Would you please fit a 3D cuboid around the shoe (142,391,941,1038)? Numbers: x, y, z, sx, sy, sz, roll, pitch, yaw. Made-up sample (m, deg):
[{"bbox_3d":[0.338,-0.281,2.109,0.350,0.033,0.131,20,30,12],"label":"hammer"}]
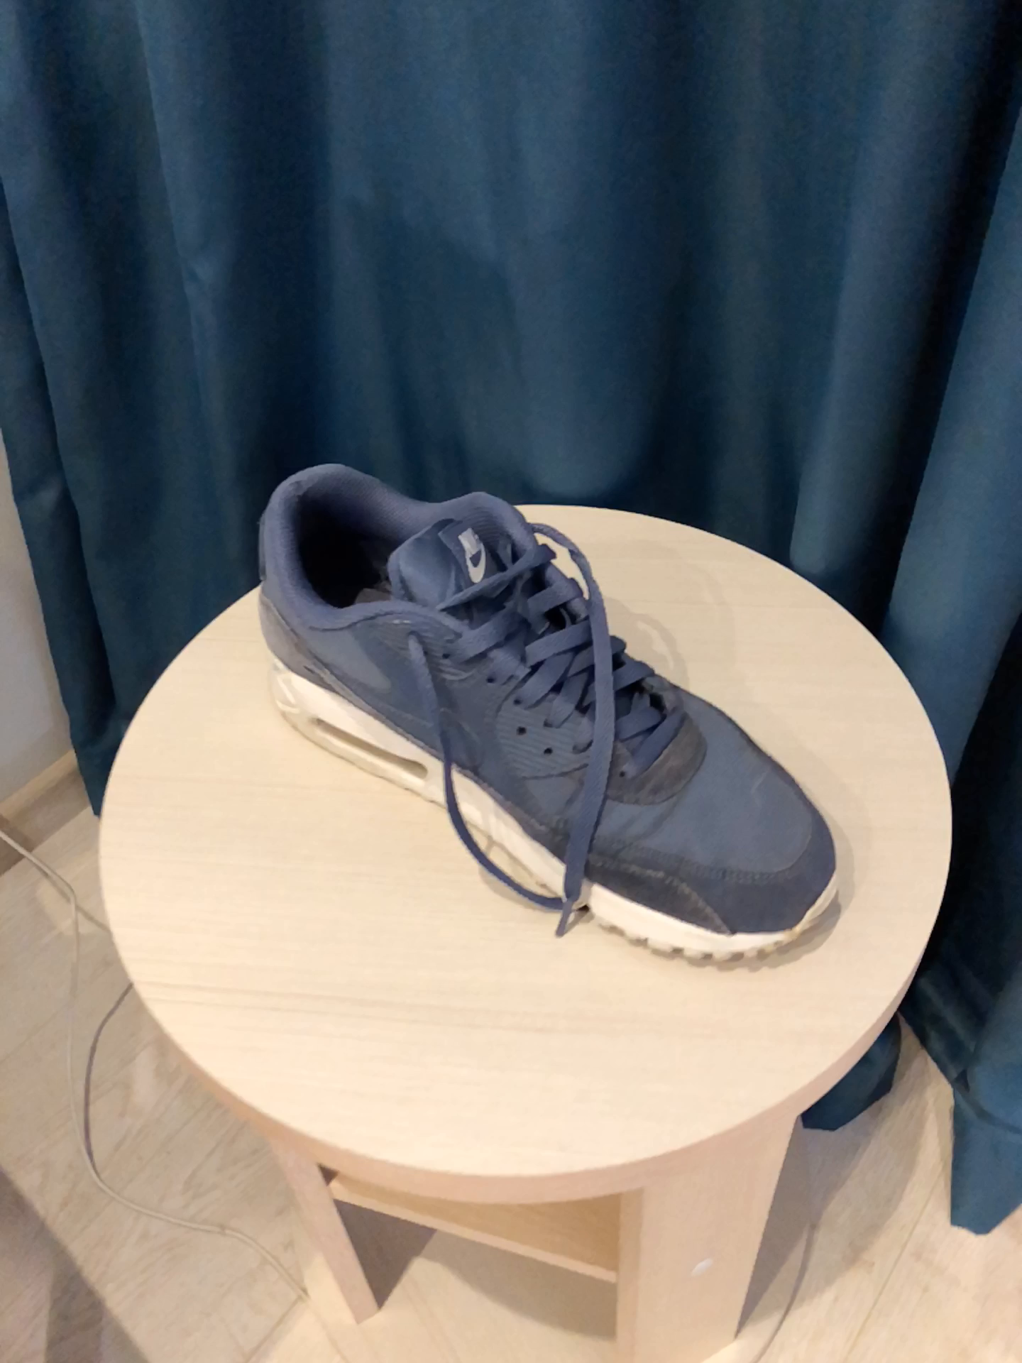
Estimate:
[{"bbox_3d":[0.002,-0.003,0.447,0.281,0.109,0.111,27,51,26],"label":"shoe"}]
